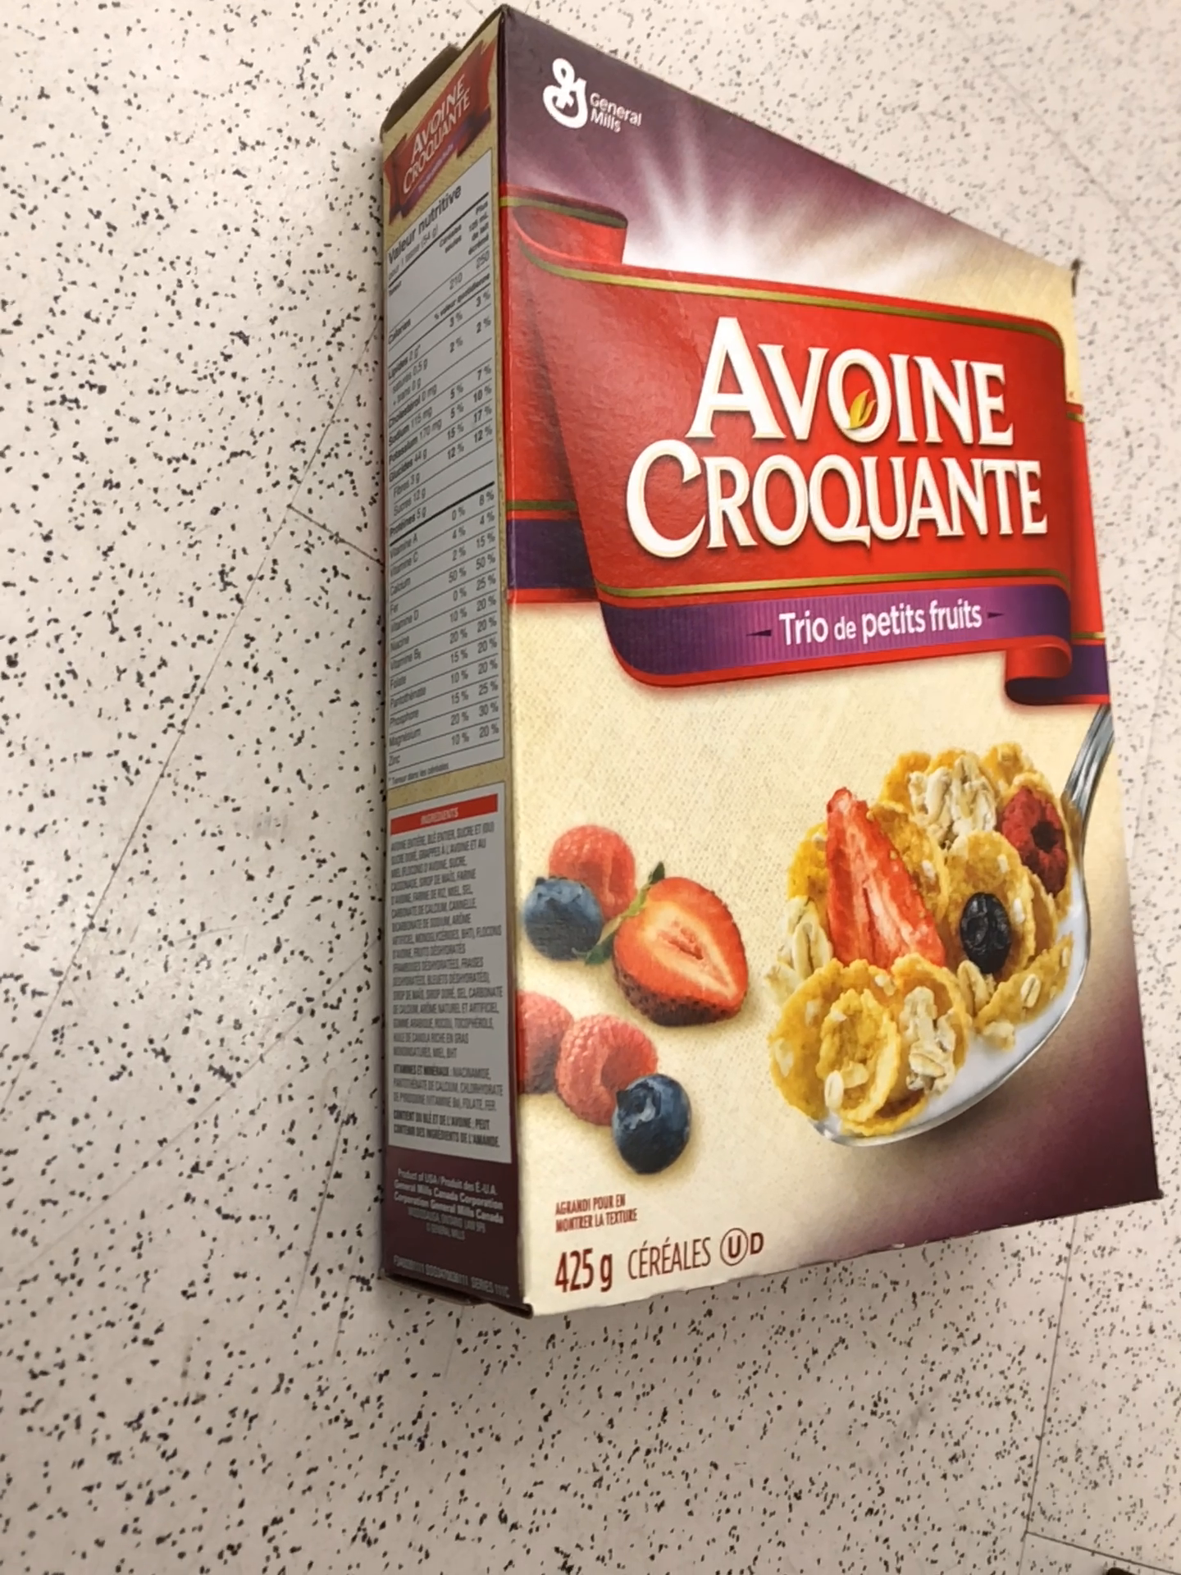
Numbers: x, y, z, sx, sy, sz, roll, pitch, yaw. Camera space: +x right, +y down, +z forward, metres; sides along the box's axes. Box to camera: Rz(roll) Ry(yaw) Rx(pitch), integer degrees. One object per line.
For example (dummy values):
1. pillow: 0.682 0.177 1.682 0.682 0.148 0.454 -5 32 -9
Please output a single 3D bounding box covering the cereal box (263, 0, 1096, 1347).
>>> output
1. cereal box: 0.028 -0.024 0.338 0.211 0.060 0.270 4 80 -35
